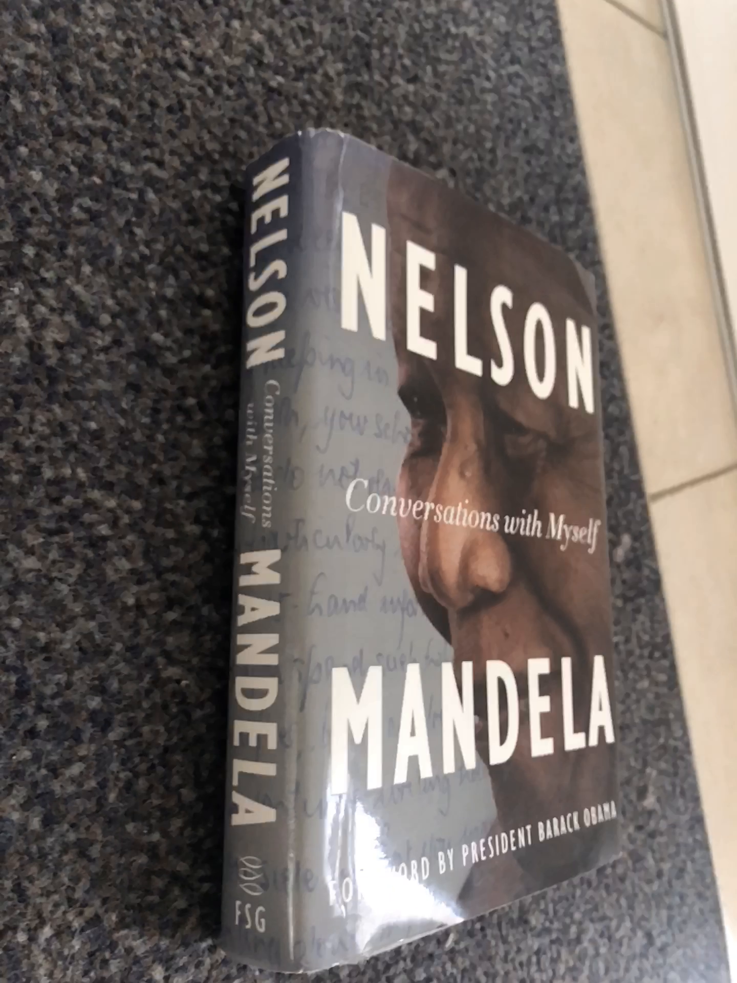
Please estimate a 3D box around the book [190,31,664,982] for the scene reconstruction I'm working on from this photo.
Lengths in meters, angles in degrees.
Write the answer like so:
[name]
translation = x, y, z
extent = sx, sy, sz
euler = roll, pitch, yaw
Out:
[book]
translation = 0.031, 0.011, 0.281
extent = 0.171, 0.050, 0.250
euler = 11, 75, -45
